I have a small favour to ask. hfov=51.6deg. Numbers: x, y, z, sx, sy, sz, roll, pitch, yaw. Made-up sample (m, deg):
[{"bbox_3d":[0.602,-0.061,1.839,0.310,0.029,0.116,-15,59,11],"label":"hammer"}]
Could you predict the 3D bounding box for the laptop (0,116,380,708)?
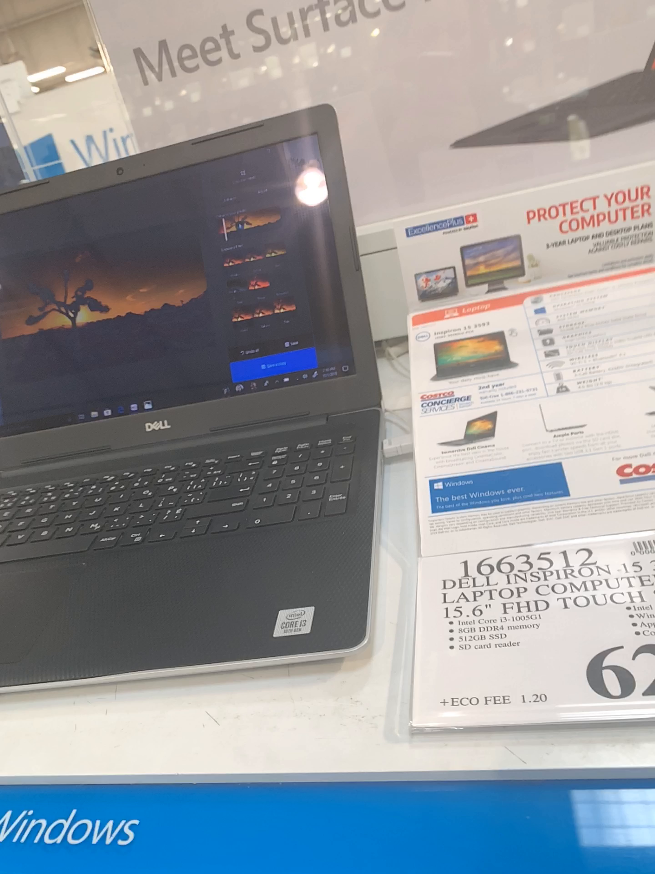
[{"bbox_3d":[-0.167,-0.051,0.434,0.357,0.205,0.343,-9,25,10],"label":"laptop"}]
